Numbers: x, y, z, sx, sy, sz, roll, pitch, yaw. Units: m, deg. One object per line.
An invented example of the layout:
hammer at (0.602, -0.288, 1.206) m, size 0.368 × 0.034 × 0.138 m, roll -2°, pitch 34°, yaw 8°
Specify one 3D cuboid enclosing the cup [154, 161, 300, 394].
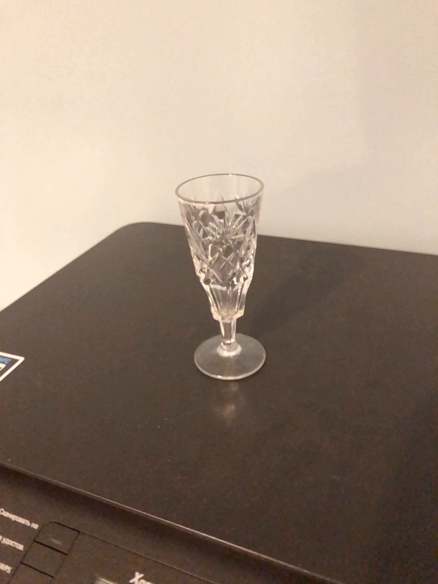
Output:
cup at (0.005, -0.010, 0.281) m, size 0.054 × 0.109 × 0.057 m, roll -2°, pitch 30°, yaw 1°
